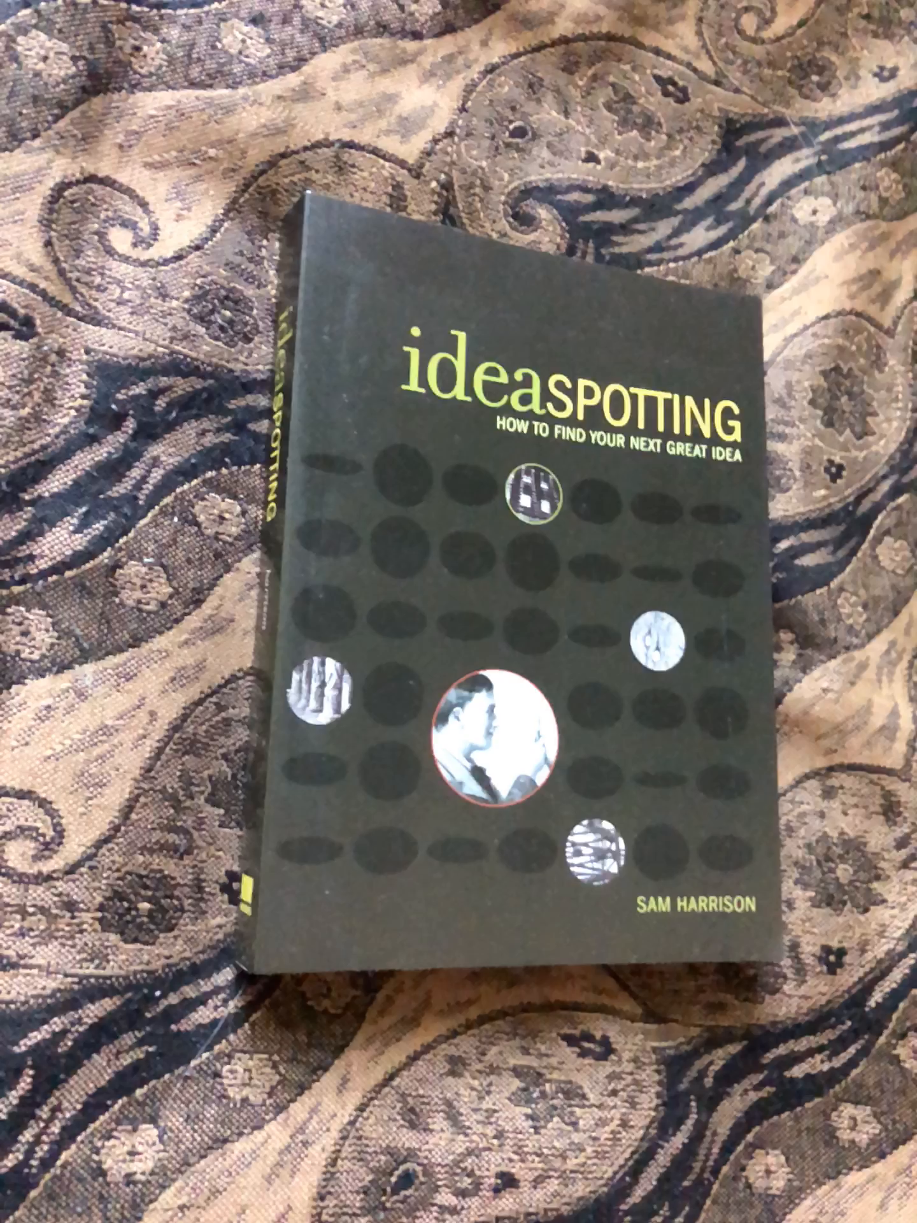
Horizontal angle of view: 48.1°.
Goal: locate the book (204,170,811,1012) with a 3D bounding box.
[{"bbox_3d":[0.016,-0.002,0.259,0.140,0.040,0.180,5,80,-20],"label":"book"}]
